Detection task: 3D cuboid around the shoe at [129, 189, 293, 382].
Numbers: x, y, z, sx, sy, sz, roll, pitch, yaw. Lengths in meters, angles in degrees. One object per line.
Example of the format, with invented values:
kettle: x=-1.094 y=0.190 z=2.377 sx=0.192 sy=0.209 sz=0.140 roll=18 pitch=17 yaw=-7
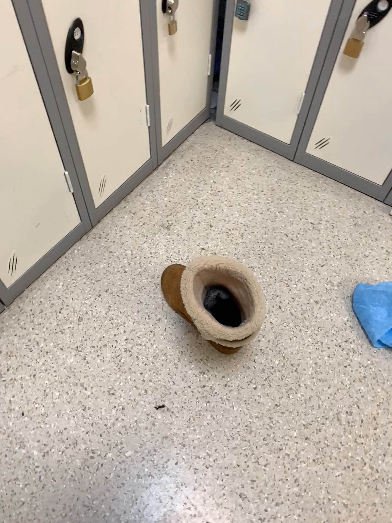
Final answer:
shoe: x=0.017 y=0.053 z=0.861 sx=0.158 sy=0.244 sz=0.307 roll=-32 pitch=63 yaw=-21
